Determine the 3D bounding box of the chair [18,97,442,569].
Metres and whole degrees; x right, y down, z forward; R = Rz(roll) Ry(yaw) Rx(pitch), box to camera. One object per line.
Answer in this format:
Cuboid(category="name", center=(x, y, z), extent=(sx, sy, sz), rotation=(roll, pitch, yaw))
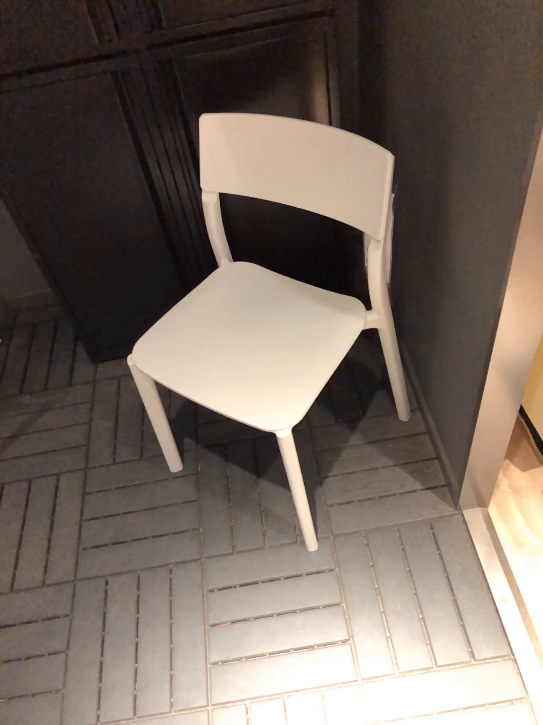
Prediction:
Cuboid(category="chair", center=(-0.019, -0.045, 1.208), extent=(0.501, 0.706, 0.472), rotation=(23, 57, 27))
